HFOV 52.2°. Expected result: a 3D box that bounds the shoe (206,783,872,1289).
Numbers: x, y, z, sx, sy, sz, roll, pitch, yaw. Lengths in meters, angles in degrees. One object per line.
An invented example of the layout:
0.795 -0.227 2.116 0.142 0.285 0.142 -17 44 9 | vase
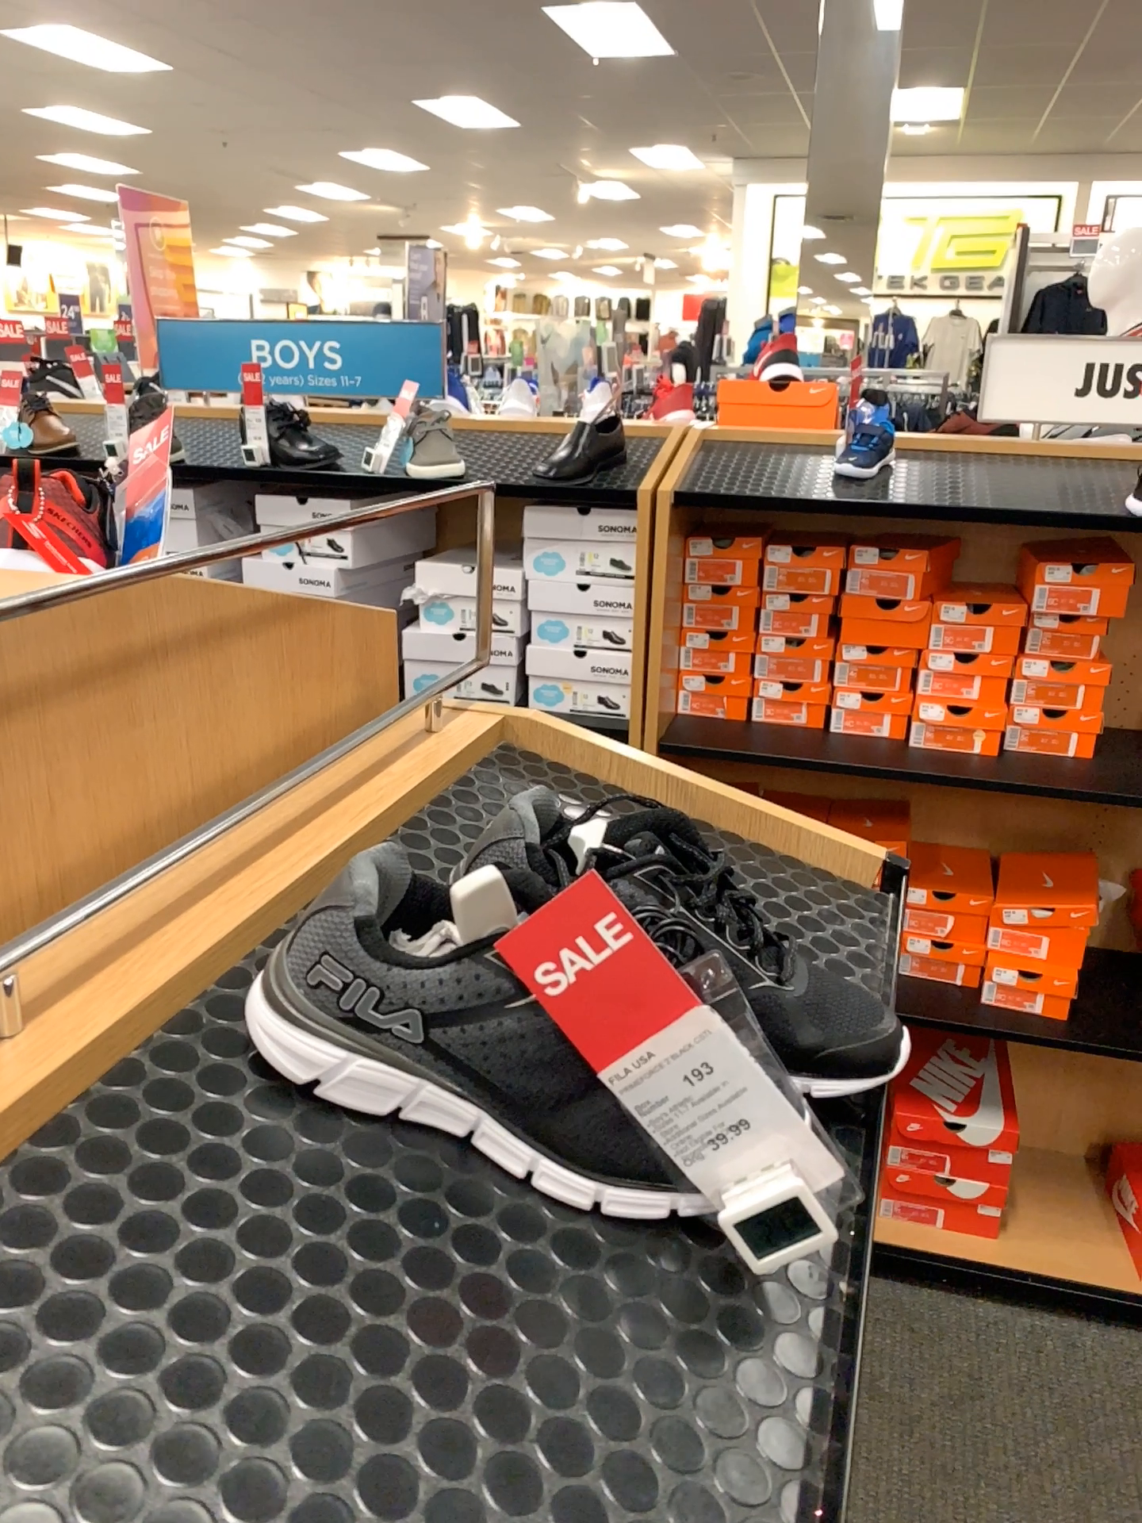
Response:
-0.011 0.110 0.497 0.244 0.090 0.100 22 20 0 | shoe

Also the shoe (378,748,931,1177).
0.043 0.097 0.586 0.244 0.089 0.101 21 31 2 | shoe
